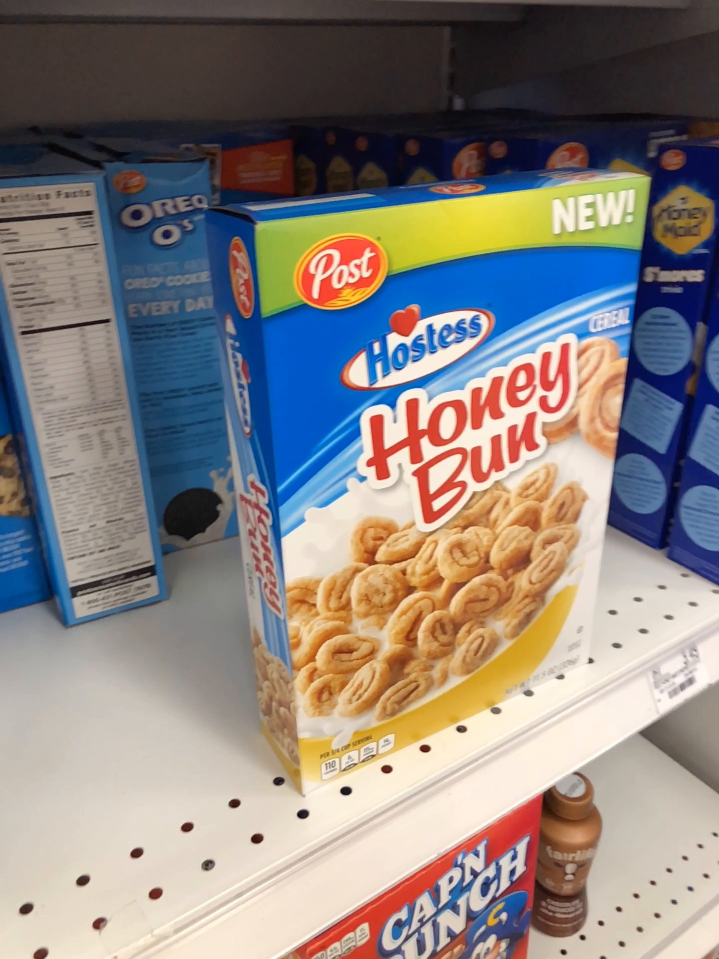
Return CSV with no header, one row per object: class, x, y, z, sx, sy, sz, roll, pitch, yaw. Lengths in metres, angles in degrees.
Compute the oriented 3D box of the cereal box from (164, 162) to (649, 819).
cereal box,0.032,-0.001,0.411,0.210,0.289,0.070,-16,28,-27
